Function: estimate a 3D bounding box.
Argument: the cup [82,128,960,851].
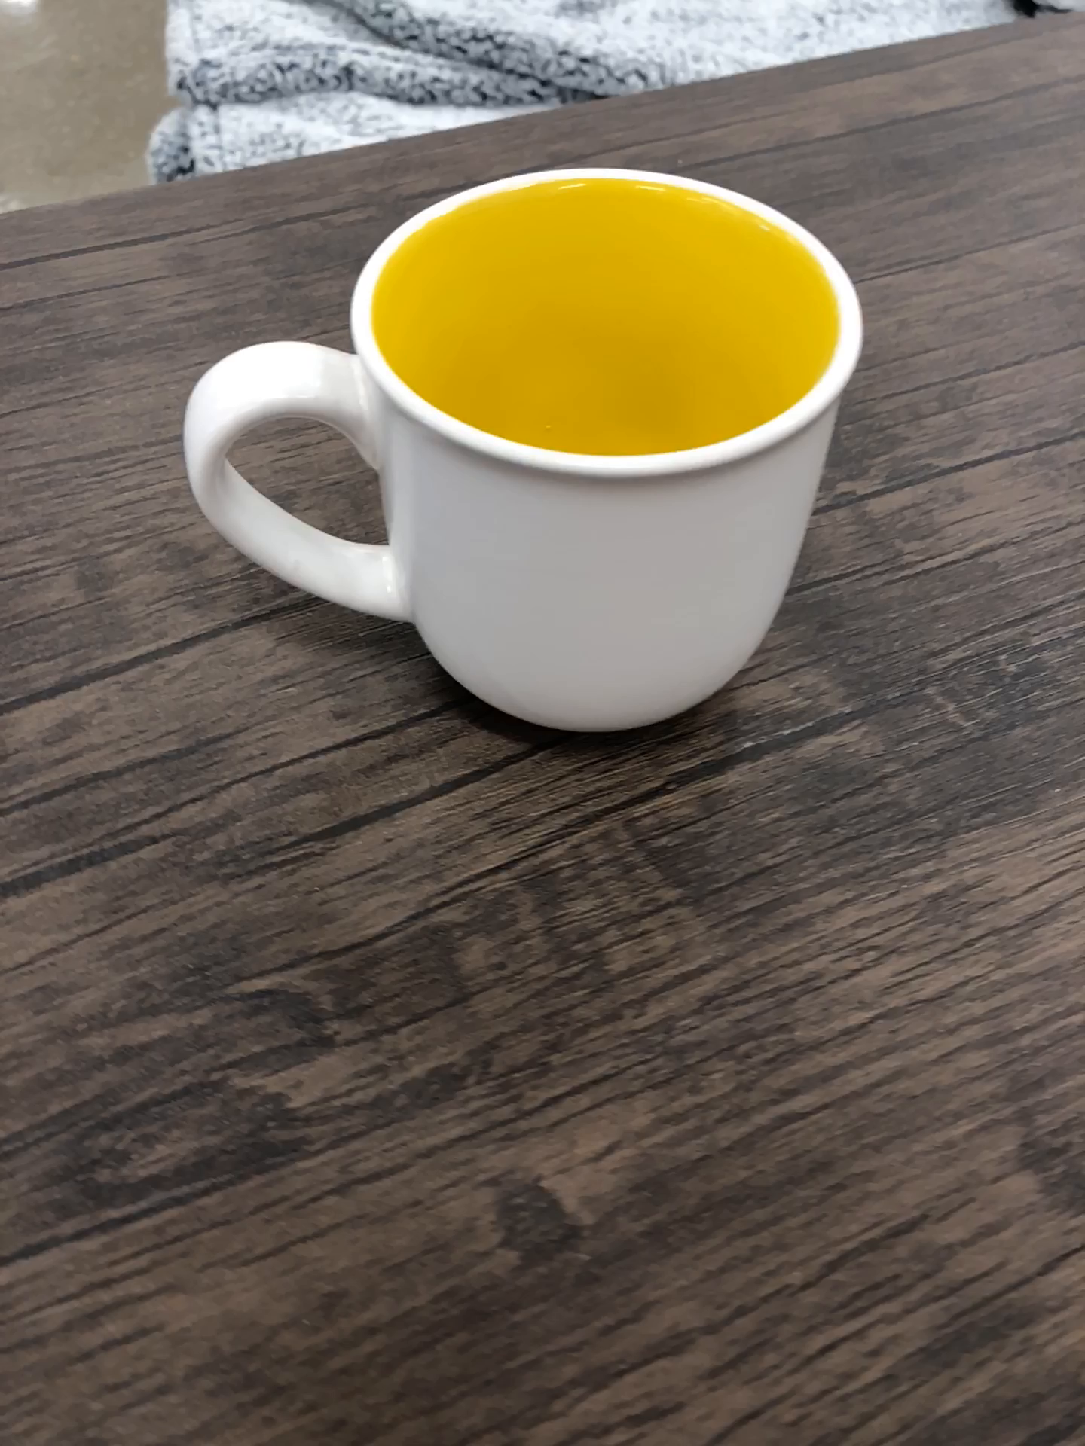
[{"bbox_3d":[-0.011,-0.051,0.255,0.140,0.090,0.100,-9,53,-9],"label":"cup"}]
